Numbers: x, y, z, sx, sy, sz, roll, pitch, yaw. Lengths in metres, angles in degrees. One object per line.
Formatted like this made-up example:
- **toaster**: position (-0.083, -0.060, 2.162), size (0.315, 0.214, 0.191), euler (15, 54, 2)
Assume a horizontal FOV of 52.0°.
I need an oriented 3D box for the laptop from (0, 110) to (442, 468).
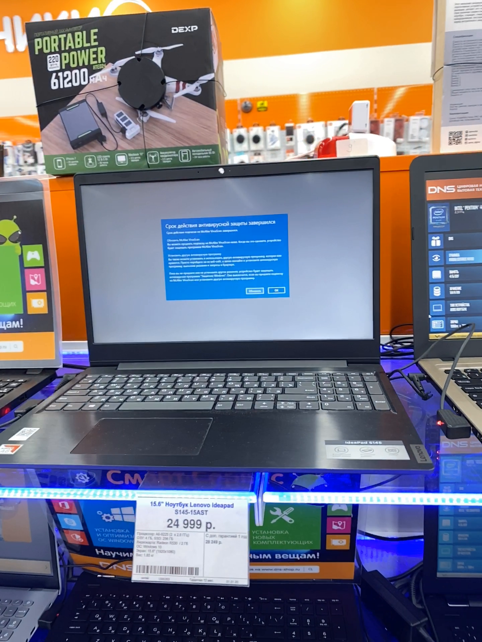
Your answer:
- **laptop**: position (-0.033, -0.036, 0.485), size (0.361, 0.240, 0.273), euler (-2, 12, 8)
